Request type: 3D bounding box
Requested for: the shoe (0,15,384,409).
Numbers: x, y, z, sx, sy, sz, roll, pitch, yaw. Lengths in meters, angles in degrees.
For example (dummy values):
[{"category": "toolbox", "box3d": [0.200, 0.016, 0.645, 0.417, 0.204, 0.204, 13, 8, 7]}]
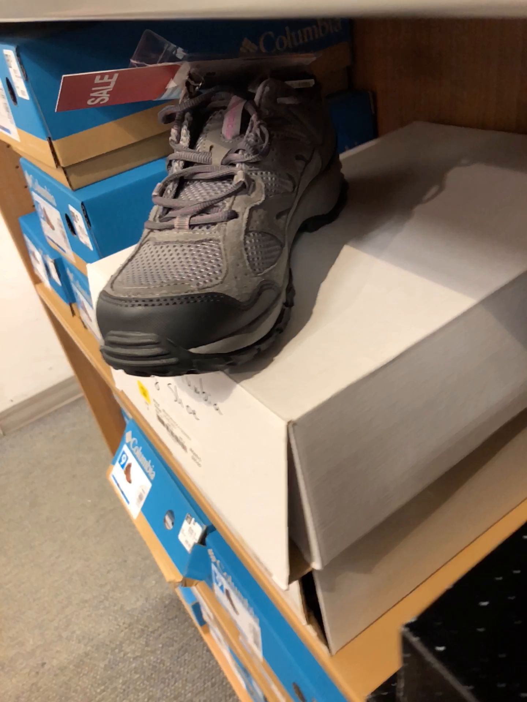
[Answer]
[{"category": "shoe", "box3d": [-0.013, -0.104, 0.351, 0.104, 0.114, 0.268, 5, 39, 24]}]
